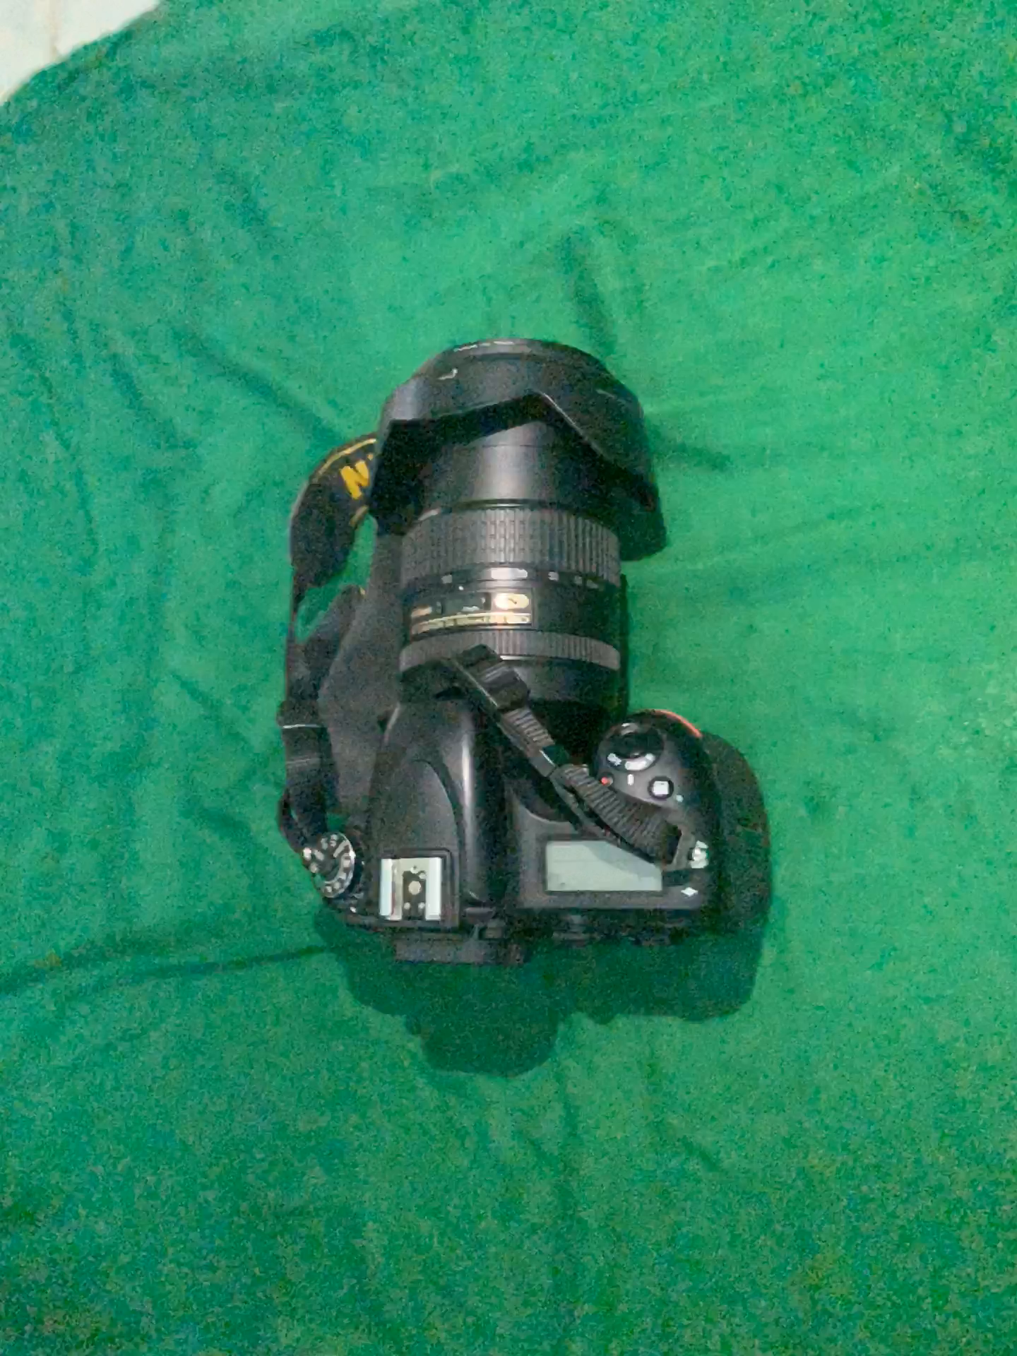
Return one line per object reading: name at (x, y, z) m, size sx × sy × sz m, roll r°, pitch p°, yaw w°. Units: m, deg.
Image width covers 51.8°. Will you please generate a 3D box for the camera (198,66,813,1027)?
camera at (0.008, -0.035, 0.373) m, size 0.171 × 0.100 × 0.290 m, roll -4°, pitch 73°, yaw 25°
